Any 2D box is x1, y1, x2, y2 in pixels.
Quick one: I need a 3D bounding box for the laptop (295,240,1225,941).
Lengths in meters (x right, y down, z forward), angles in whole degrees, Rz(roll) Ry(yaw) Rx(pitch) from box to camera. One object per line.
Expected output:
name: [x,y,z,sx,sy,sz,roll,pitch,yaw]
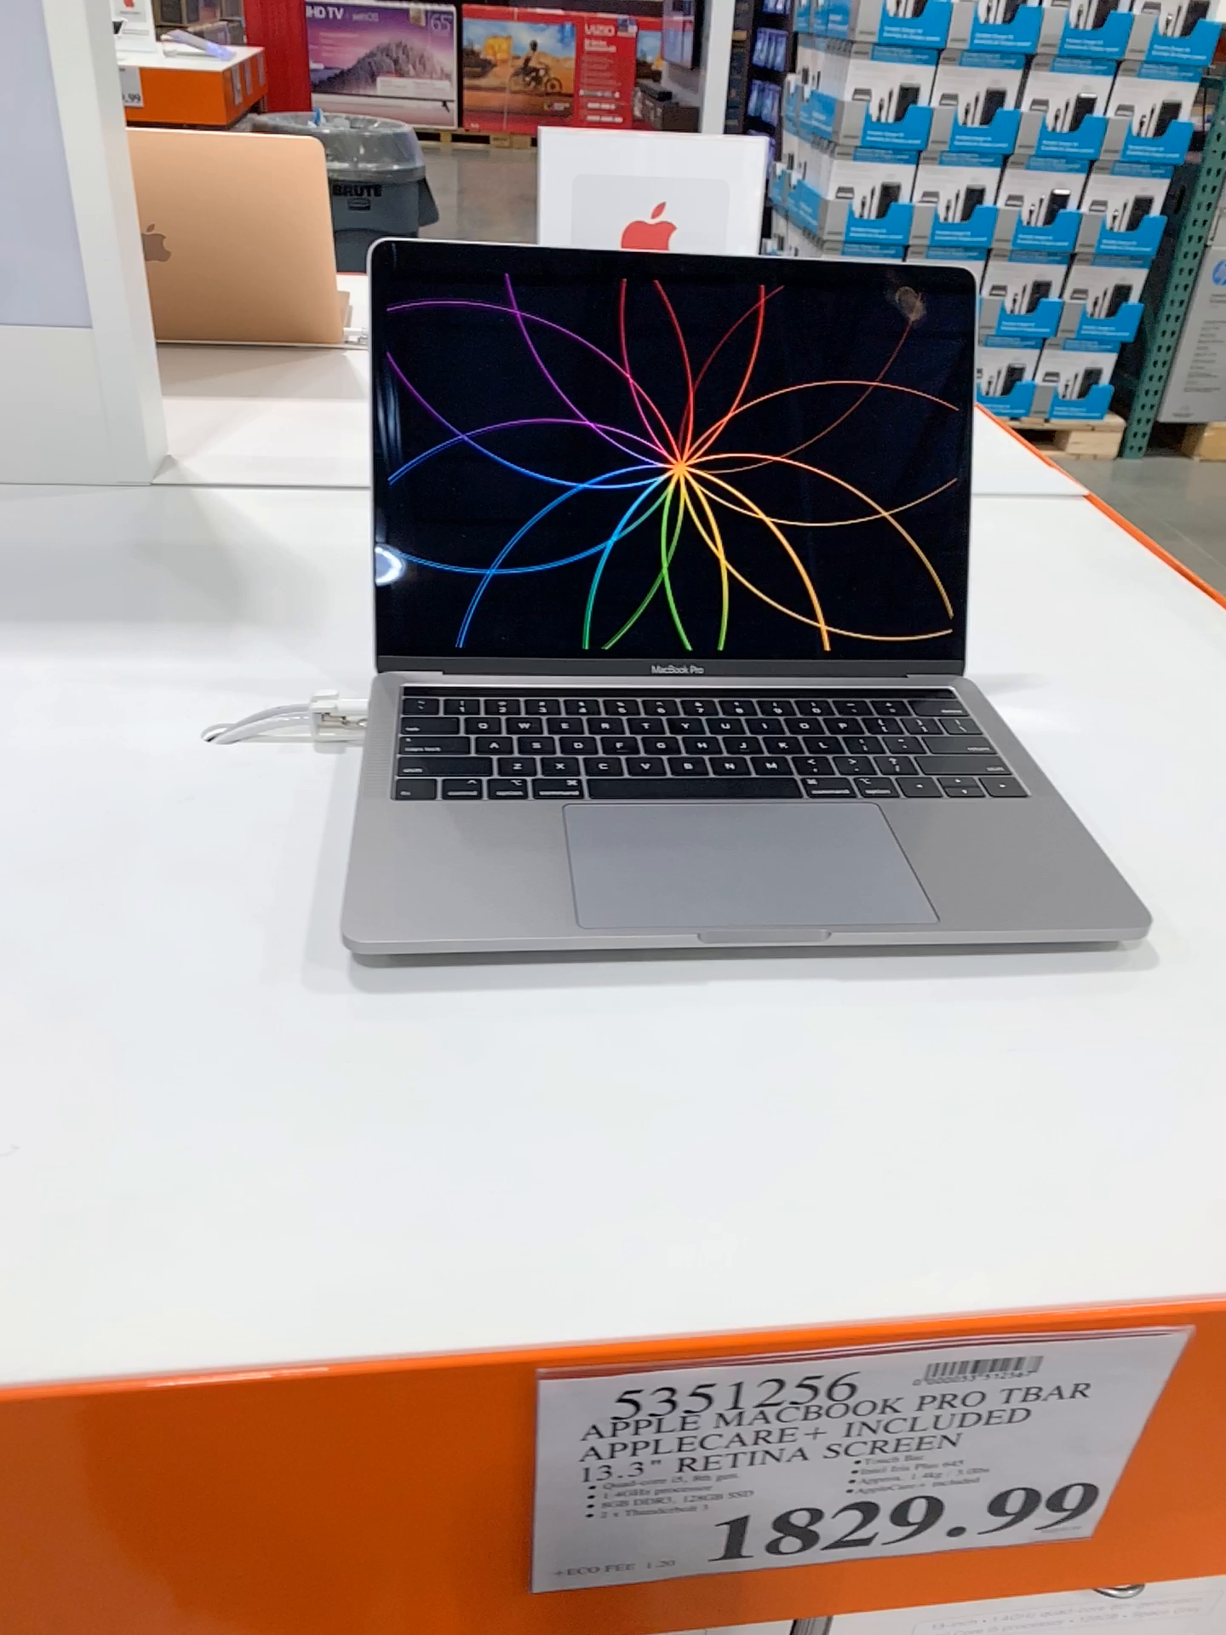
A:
laptop: [0.041,-0.116,0.518,0.289,0.165,0.308,-1,34,-6]
